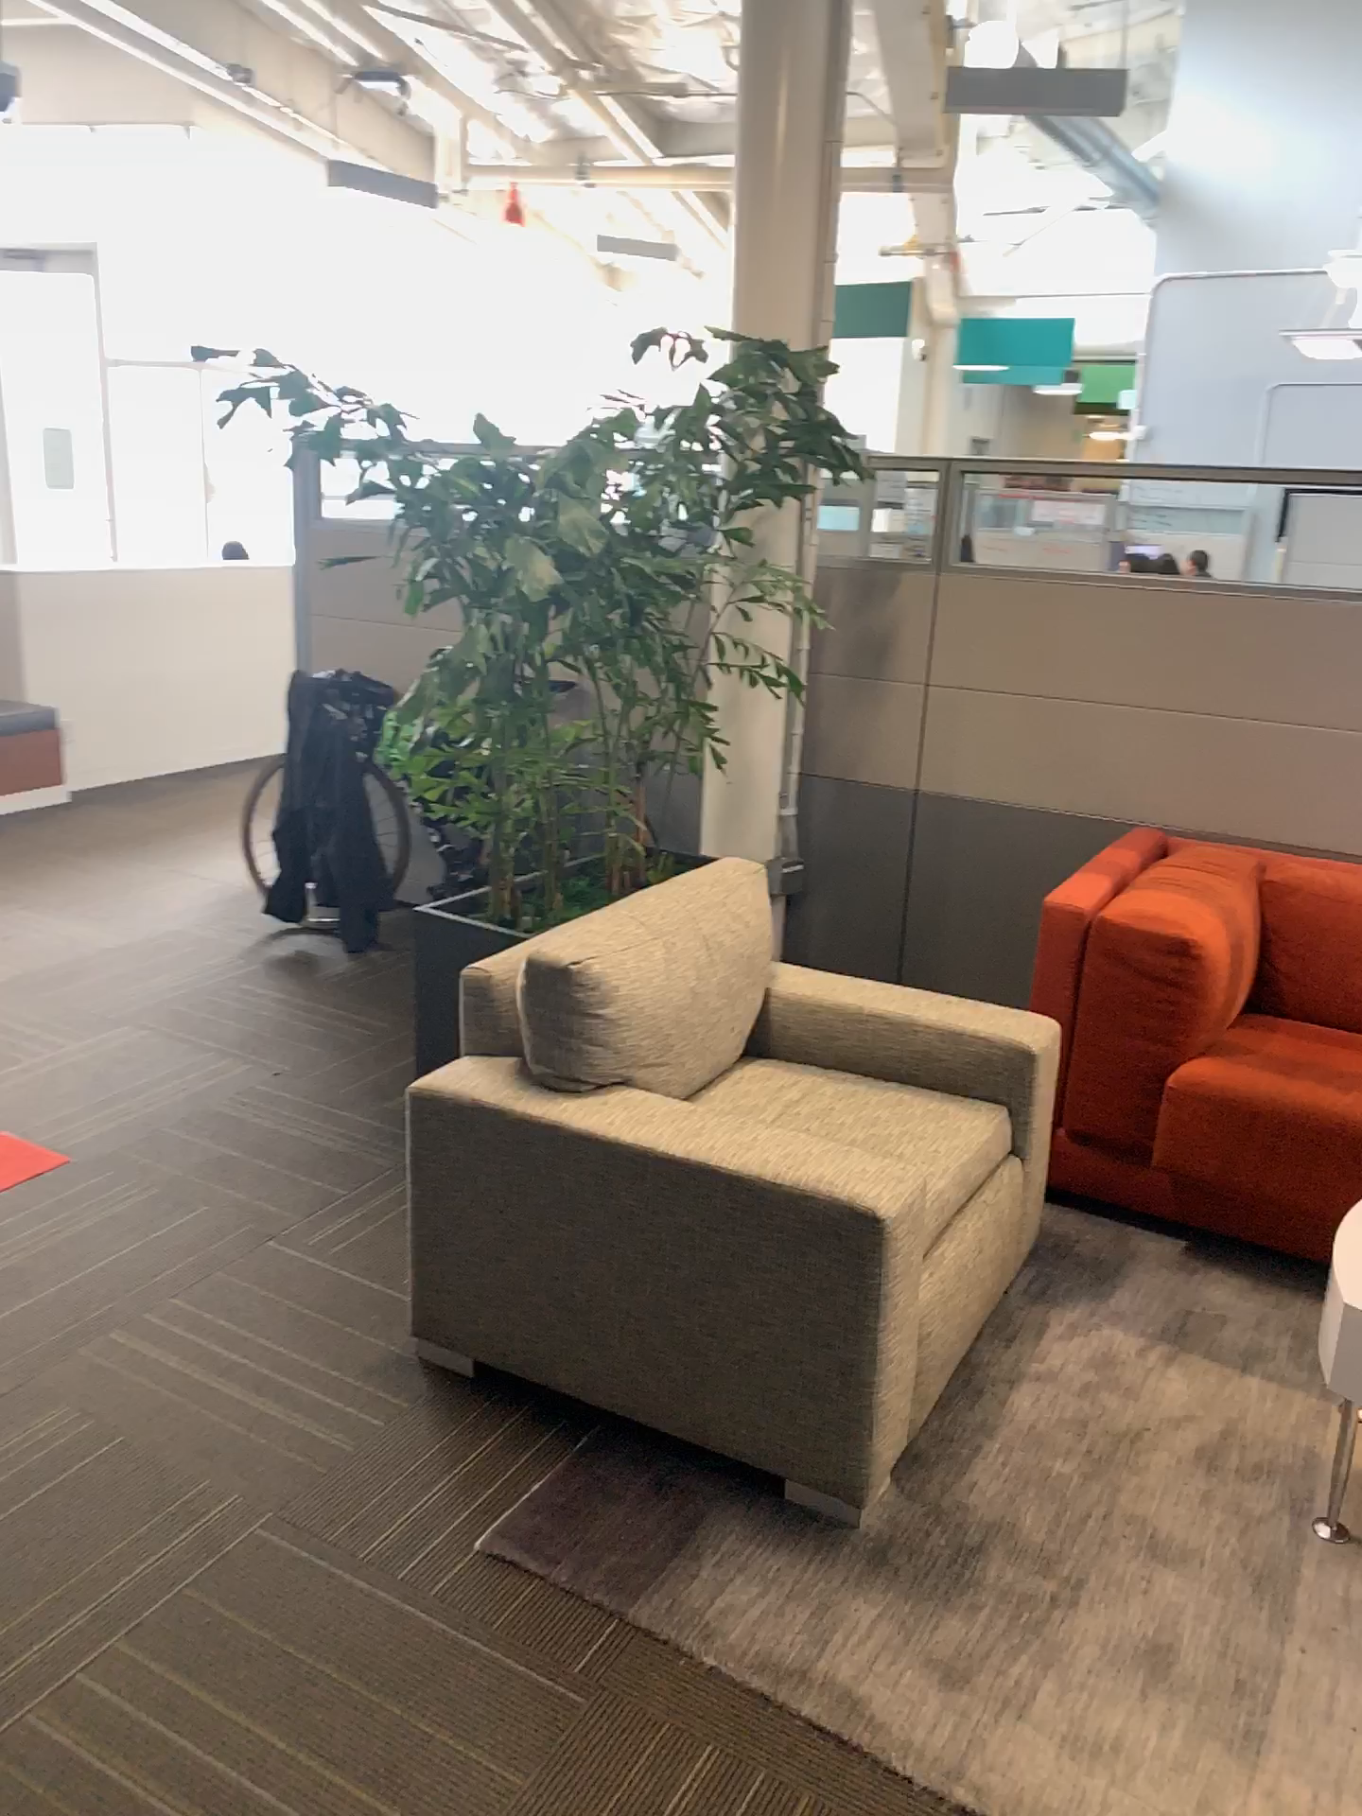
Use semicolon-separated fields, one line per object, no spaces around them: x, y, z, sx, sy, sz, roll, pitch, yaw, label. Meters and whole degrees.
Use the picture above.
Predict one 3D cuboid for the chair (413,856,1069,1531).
0.138;0.416;2.600;0.871;0.727;0.922;11;18;26;chair
